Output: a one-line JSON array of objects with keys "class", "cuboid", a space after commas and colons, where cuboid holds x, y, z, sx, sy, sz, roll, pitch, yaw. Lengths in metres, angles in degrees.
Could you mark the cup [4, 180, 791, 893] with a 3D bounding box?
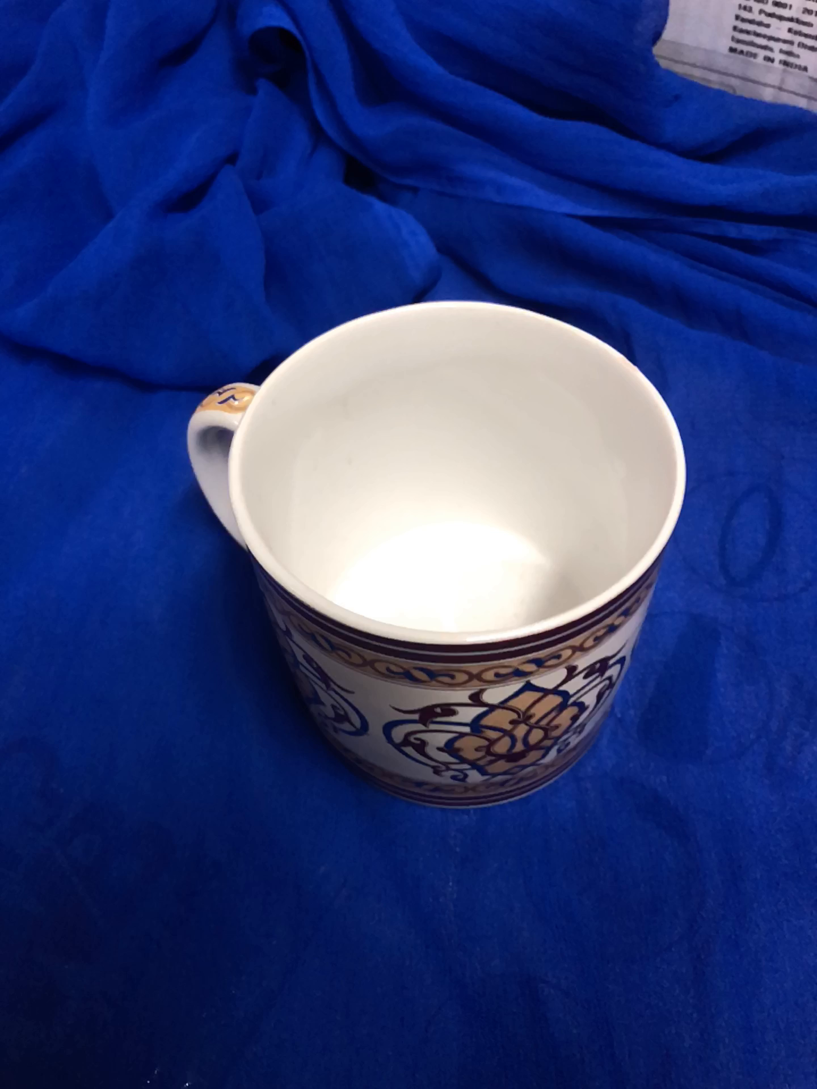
[{"class": "cup", "cuboid": [-0.001, -0.002, 0.192, 0.110, 0.080, 0.080, 27, 61, 16]}]
